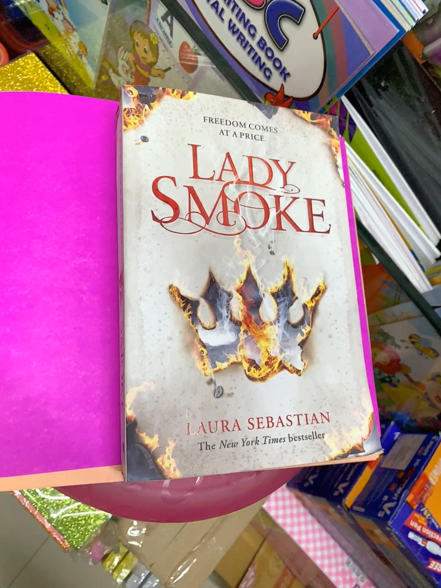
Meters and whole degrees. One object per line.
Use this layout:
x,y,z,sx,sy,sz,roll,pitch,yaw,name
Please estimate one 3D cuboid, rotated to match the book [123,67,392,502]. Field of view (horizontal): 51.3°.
0.017,-0.007,0.256,0.130,0.050,0.200,1,82,-21,book
